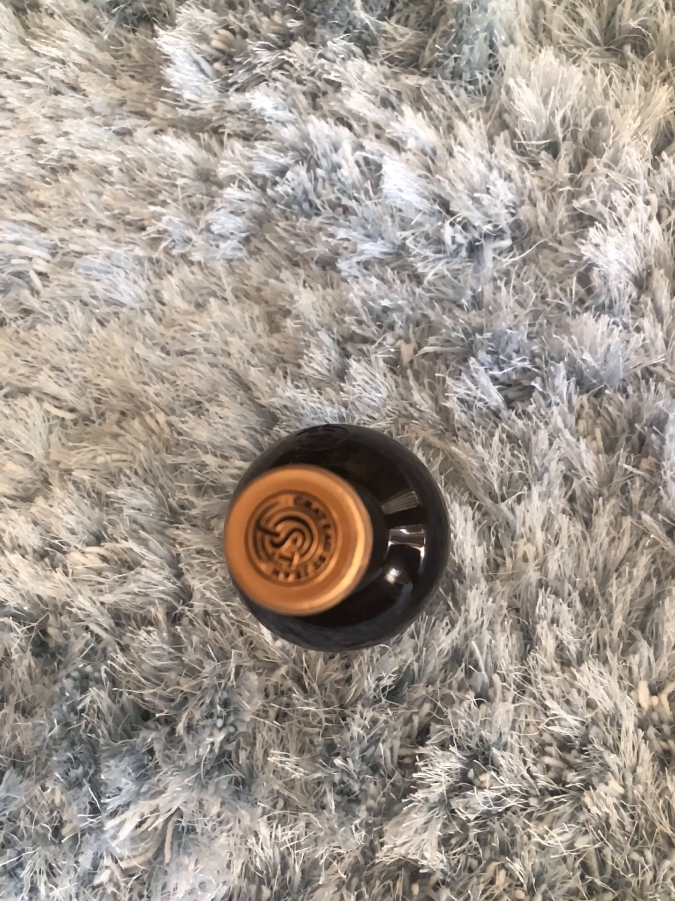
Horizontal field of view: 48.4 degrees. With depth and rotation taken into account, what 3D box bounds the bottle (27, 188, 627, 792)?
[{"bbox_3d":[0.008,0.029,0.290,0.090,0.300,0.090,-1,80,5],"label":"bottle"}]
